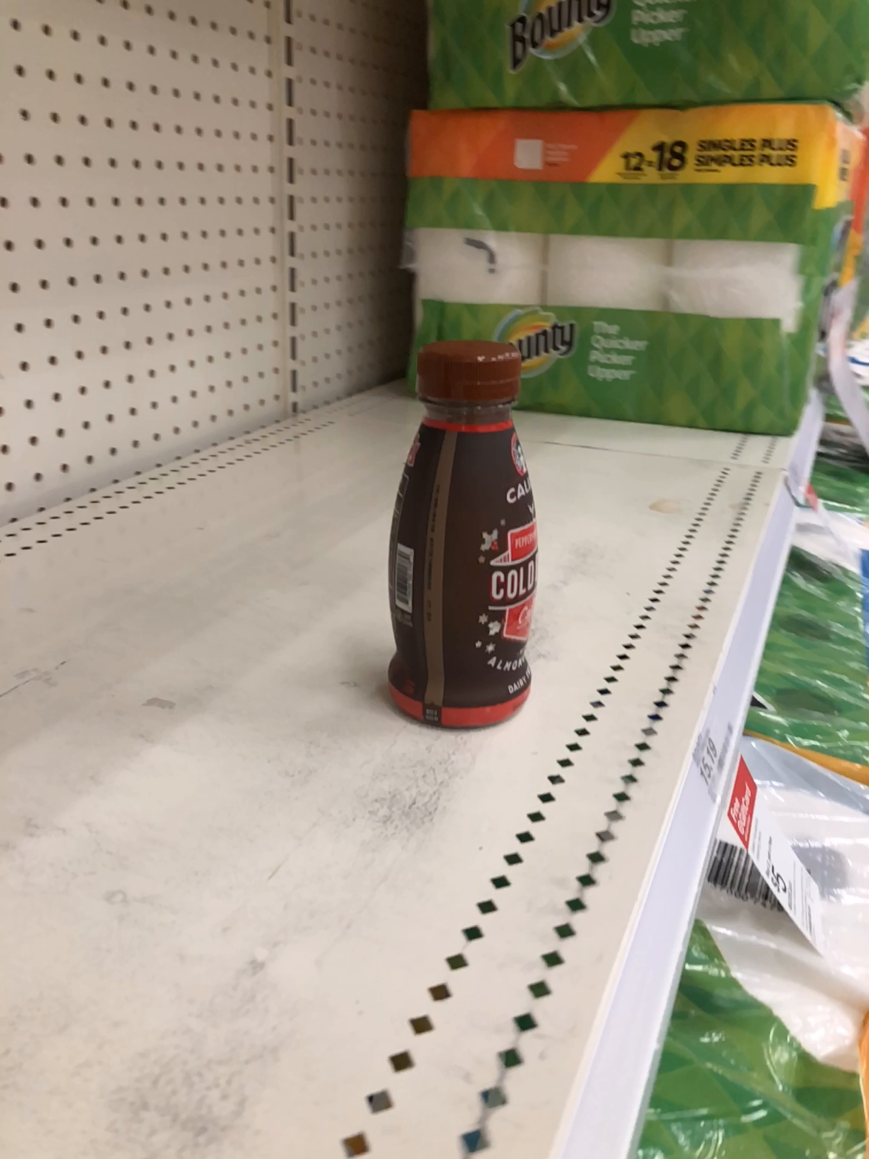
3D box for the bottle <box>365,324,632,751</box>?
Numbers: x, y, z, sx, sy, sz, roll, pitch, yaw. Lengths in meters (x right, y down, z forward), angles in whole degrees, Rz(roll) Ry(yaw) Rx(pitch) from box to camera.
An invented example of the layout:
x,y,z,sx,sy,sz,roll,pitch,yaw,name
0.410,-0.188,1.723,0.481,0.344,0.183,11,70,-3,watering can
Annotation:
x,y,z,sx,sy,sz,roll,pitch,yaw,name
0.024,-0.021,0.396,0.080,0.149,0.070,13,25,23,bottle
